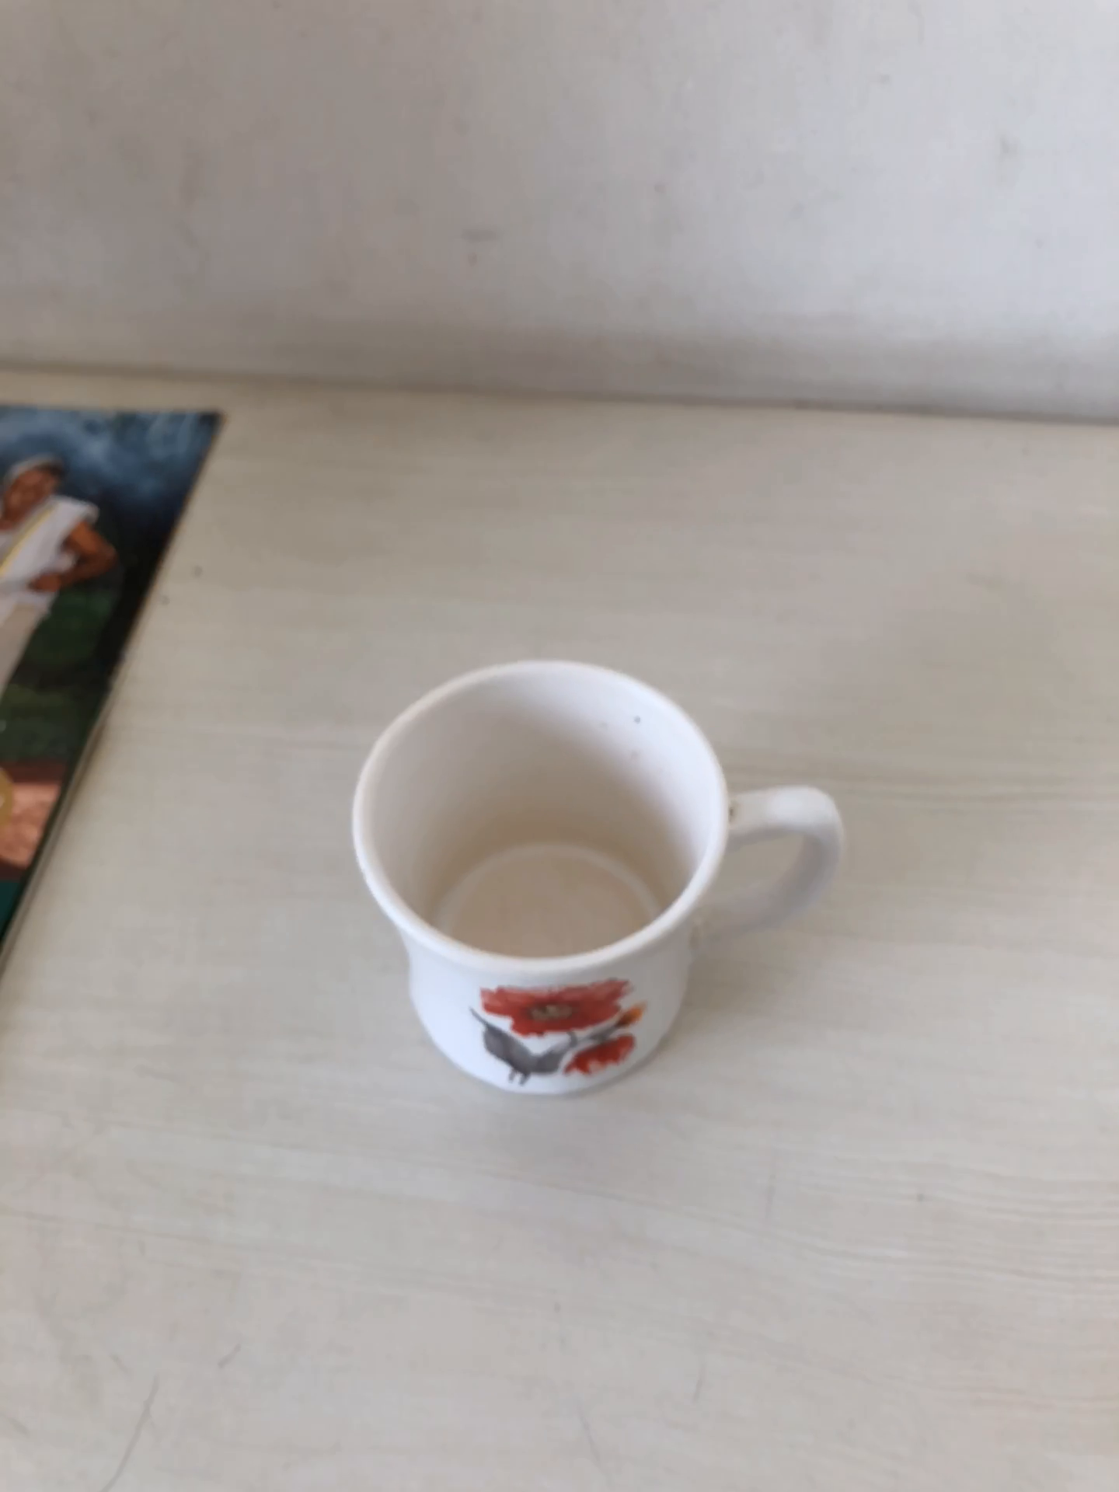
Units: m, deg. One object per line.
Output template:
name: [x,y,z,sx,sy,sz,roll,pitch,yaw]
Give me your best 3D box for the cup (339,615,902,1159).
cup: [0.008,0.029,0.255,0.090,0.070,0.070,-8,52,-4]
